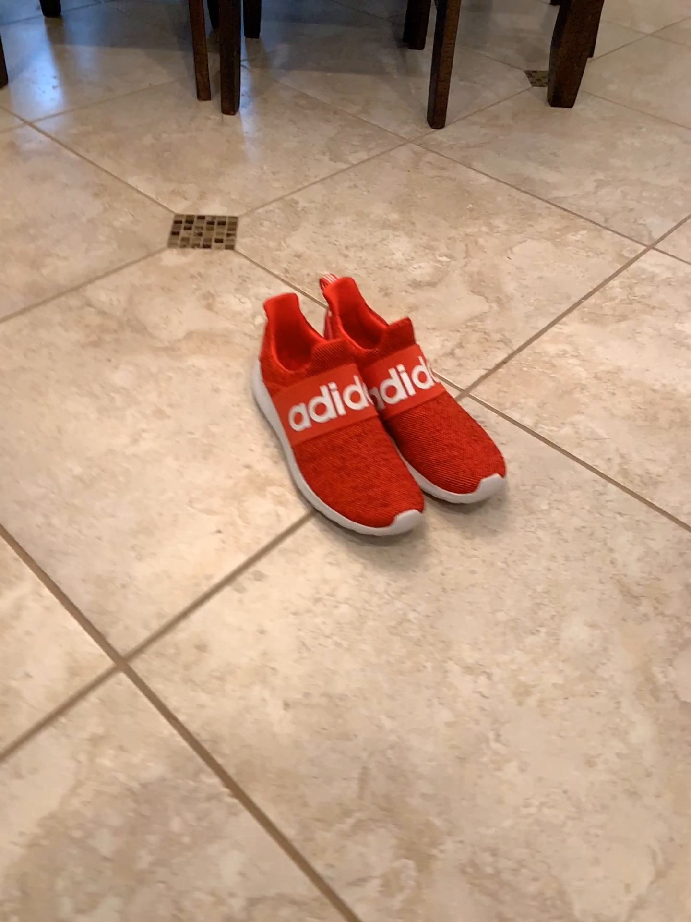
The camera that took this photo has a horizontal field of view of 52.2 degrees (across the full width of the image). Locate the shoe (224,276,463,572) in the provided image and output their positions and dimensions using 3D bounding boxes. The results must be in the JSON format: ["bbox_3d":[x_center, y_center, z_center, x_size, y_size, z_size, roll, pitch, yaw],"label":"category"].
[{"bbox_3d":[-0.017,-0.052,0.743,0.117,0.119,0.301,-18,51,-20],"label":"shoe"}]

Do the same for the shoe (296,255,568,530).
[{"bbox_3d":[0.076,-0.087,0.775,0.117,0.119,0.301,-25,54,-25],"label":"shoe"}]
